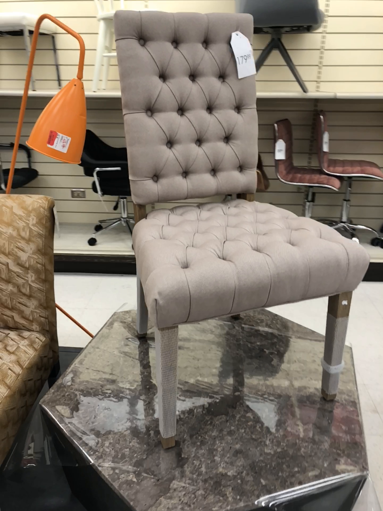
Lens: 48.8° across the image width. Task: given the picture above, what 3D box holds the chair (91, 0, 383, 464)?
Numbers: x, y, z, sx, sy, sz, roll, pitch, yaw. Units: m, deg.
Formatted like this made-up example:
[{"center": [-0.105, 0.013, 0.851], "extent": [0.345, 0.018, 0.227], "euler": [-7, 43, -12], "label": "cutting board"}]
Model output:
[{"center": [0.097, -0.117, 1.185], "extent": [0.570, 1.046, 0.582], "euler": [-8, 24, -20], "label": "chair"}]
